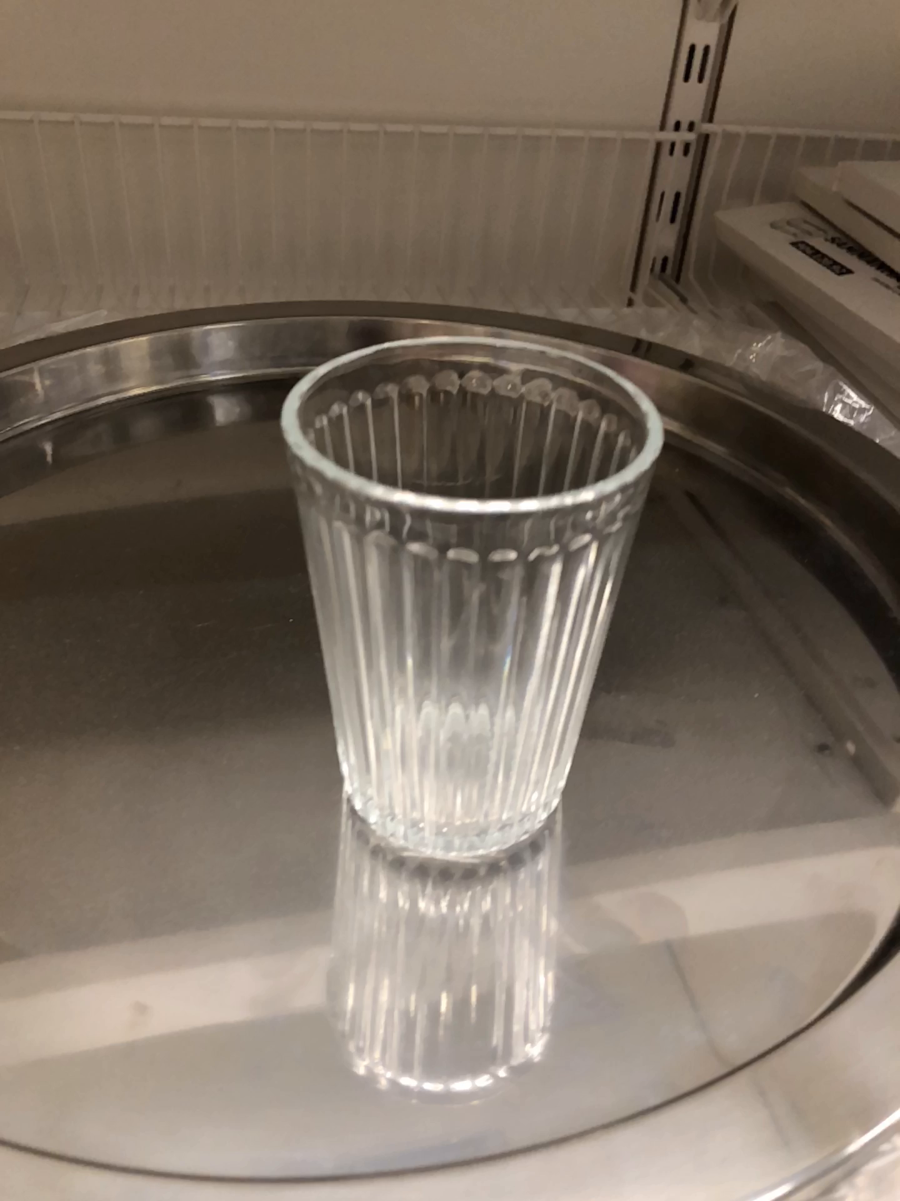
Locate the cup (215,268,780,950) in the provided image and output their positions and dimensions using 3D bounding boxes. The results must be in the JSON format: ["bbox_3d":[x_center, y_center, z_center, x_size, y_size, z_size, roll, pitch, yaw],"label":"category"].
[{"bbox_3d":[0.006,-0.002,0.204,0.070,0.100,0.070,1,36,-1],"label":"cup"}]
